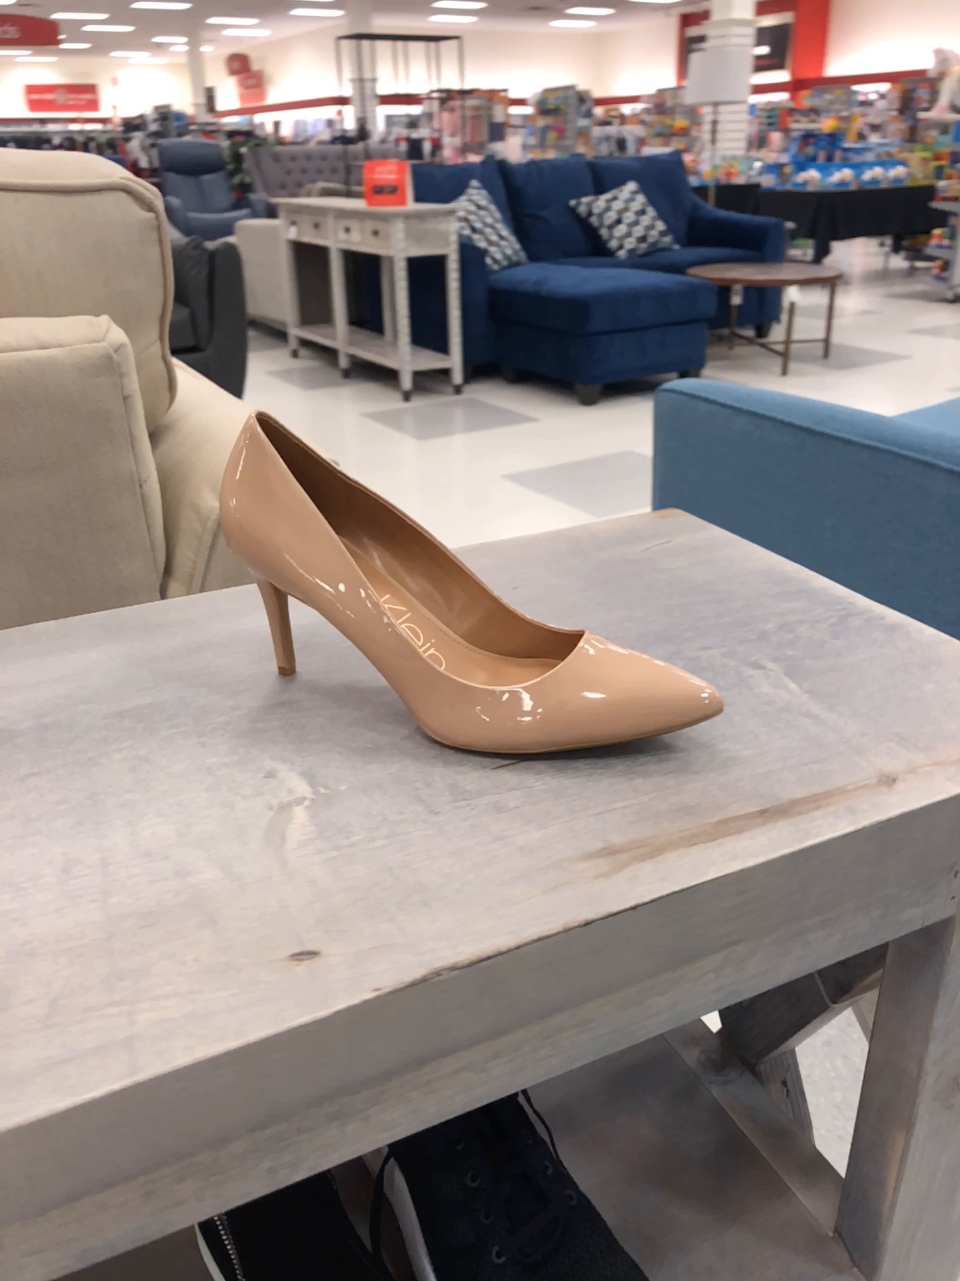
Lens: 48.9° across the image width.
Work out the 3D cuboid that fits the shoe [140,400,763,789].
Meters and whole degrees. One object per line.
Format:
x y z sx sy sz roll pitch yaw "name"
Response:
-0.013 -0.033 0.508 0.268 0.129 0.097 8 26 20 "shoe"
